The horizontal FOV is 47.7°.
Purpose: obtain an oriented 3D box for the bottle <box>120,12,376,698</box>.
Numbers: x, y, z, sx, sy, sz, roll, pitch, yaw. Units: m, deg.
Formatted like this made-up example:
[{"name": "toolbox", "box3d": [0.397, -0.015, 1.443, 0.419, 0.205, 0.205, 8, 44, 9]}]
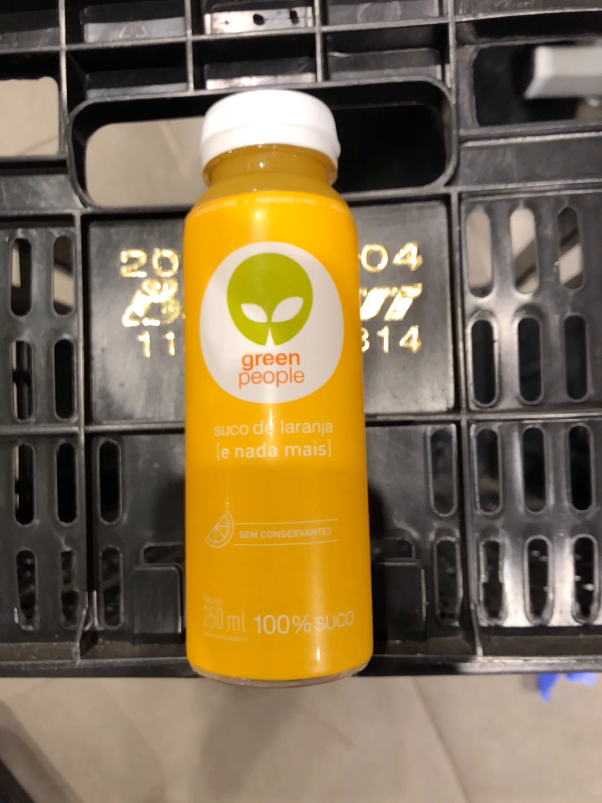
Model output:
[{"name": "bottle", "box3d": [-0.014, -0.013, 0.205, 0.060, 0.050, 0.180, -4, 84, 4]}]
